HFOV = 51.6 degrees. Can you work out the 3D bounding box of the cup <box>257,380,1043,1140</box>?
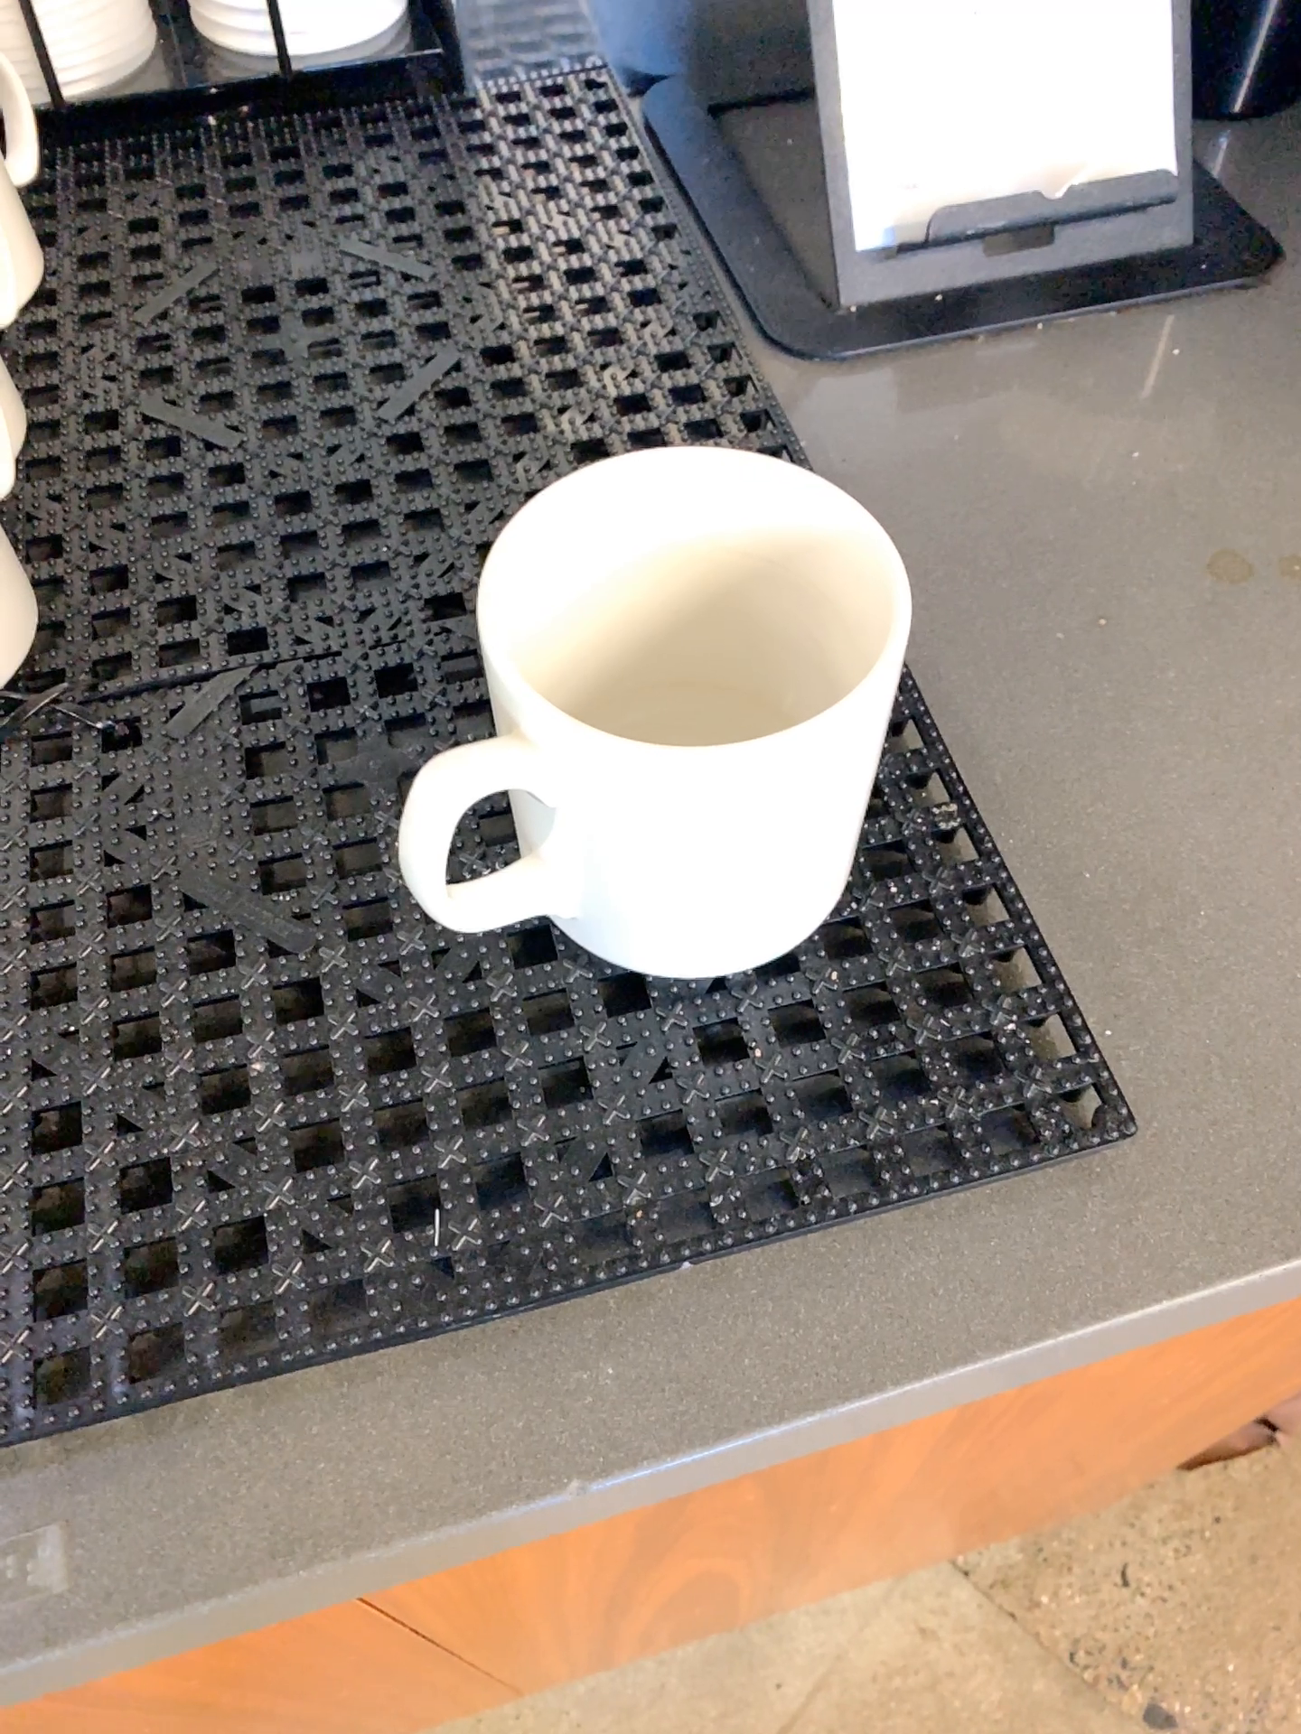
[{"bbox_3d":[0.000,-0.025,0.290,0.120,0.080,0.090,-33,62,-20],"label":"cup"}]
